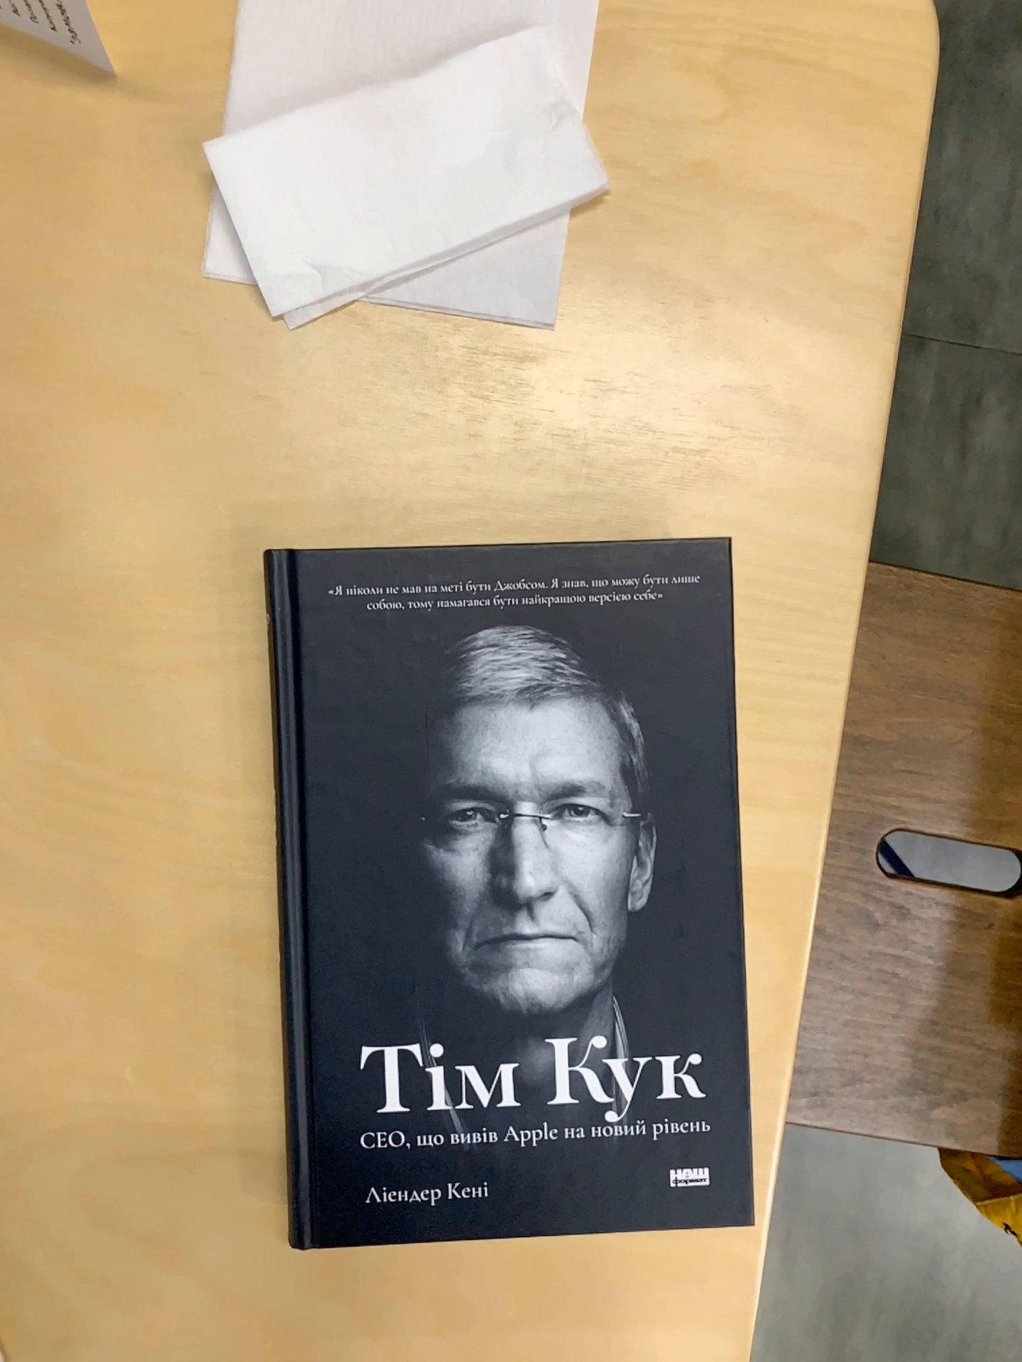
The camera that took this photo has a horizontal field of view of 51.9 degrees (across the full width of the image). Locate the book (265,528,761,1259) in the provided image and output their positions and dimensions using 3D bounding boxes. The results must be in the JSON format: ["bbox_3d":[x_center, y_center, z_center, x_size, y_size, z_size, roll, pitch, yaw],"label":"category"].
[{"bbox_3d":[0.000,0.064,0.337,0.144,0.034,0.217,-2,89,-2],"label":"book"}]
